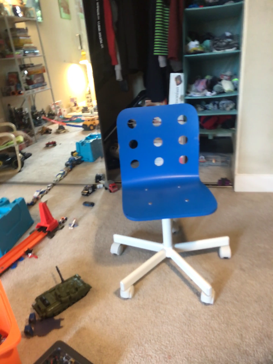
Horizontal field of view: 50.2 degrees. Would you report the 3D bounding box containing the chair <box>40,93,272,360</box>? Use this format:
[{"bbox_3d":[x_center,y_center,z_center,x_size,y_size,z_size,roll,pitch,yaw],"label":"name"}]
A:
[{"bbox_3d":[0.071,0.113,1.205,0.620,0.814,0.675,-3,24,-2],"label":"chair"}]
